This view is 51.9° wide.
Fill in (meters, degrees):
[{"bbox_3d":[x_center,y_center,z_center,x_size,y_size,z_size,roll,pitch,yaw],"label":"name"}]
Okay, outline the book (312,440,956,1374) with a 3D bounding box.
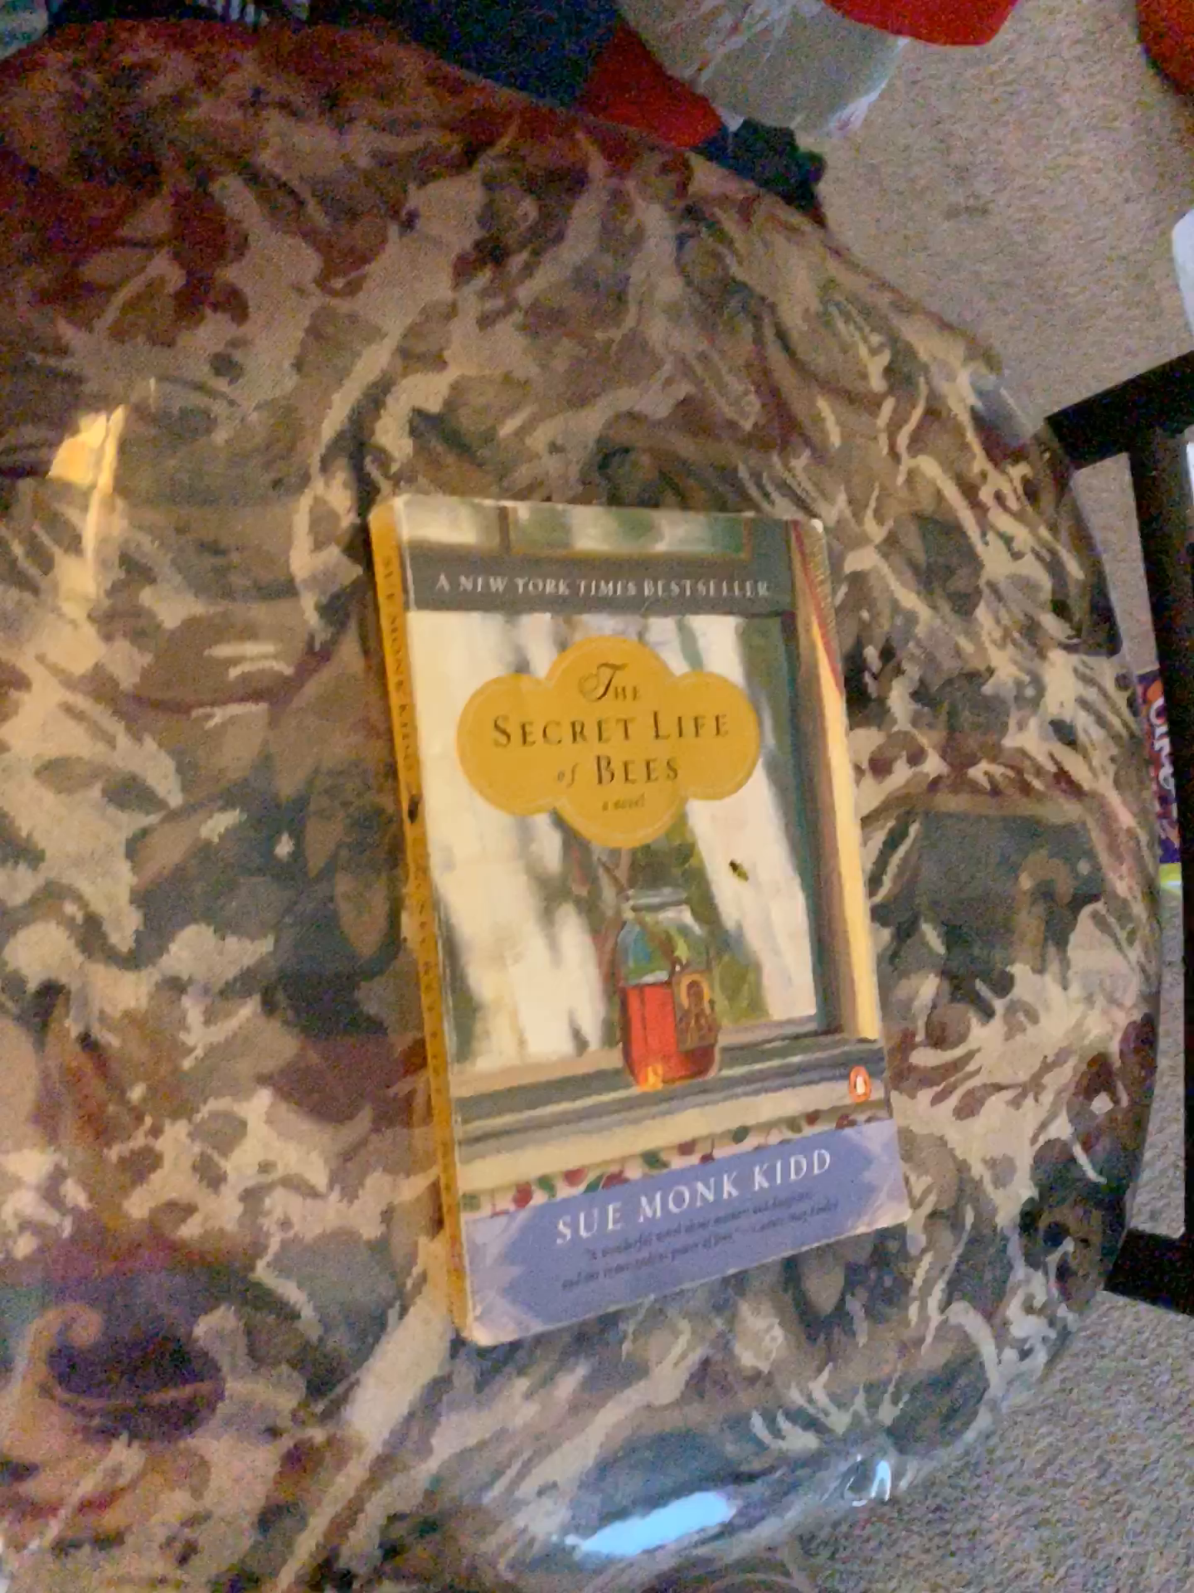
[{"bbox_3d":[0.010,0.018,0.323,0.140,0.040,0.210,-5,84,-25],"label":"book"}]
